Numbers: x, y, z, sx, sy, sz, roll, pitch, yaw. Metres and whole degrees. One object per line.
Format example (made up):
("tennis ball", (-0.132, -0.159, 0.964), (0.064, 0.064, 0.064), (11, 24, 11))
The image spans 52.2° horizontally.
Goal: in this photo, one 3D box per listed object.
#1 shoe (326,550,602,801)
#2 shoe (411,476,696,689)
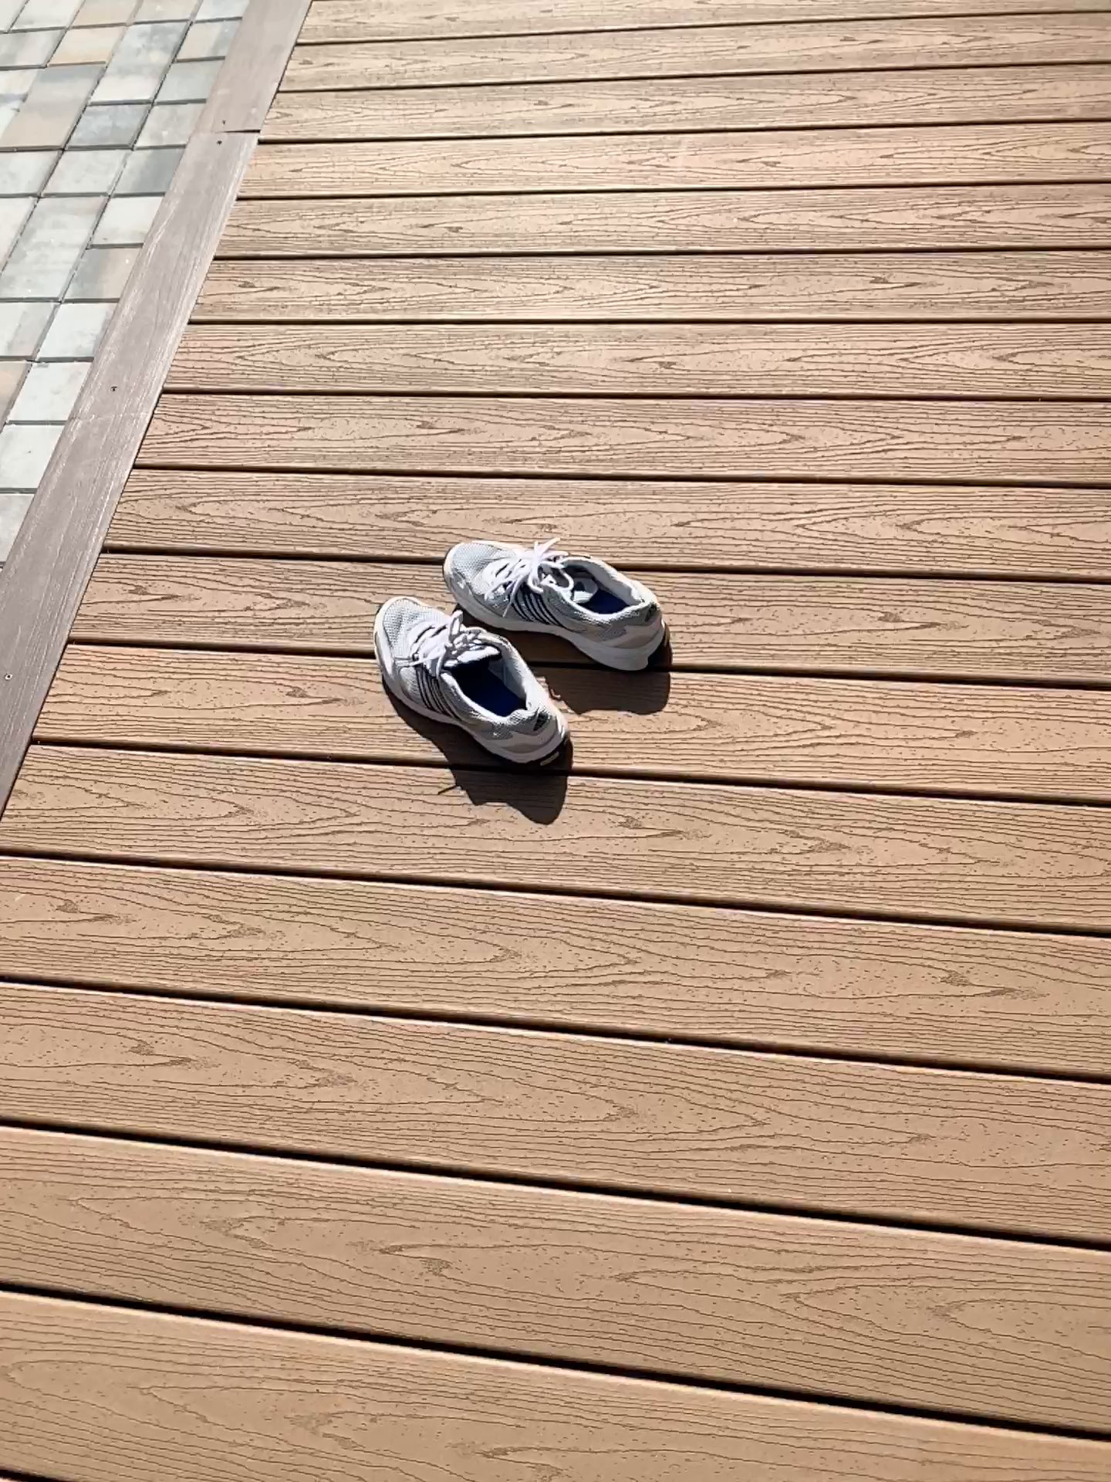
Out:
("shoe", (-0.102, -0.077, 1.265), (0.291, 0.100, 0.120), (34, 70, 23))
("shoe", (0.000, -0.186, 1.312), (0.301, 0.100, 0.120), (23, 66, 19))
